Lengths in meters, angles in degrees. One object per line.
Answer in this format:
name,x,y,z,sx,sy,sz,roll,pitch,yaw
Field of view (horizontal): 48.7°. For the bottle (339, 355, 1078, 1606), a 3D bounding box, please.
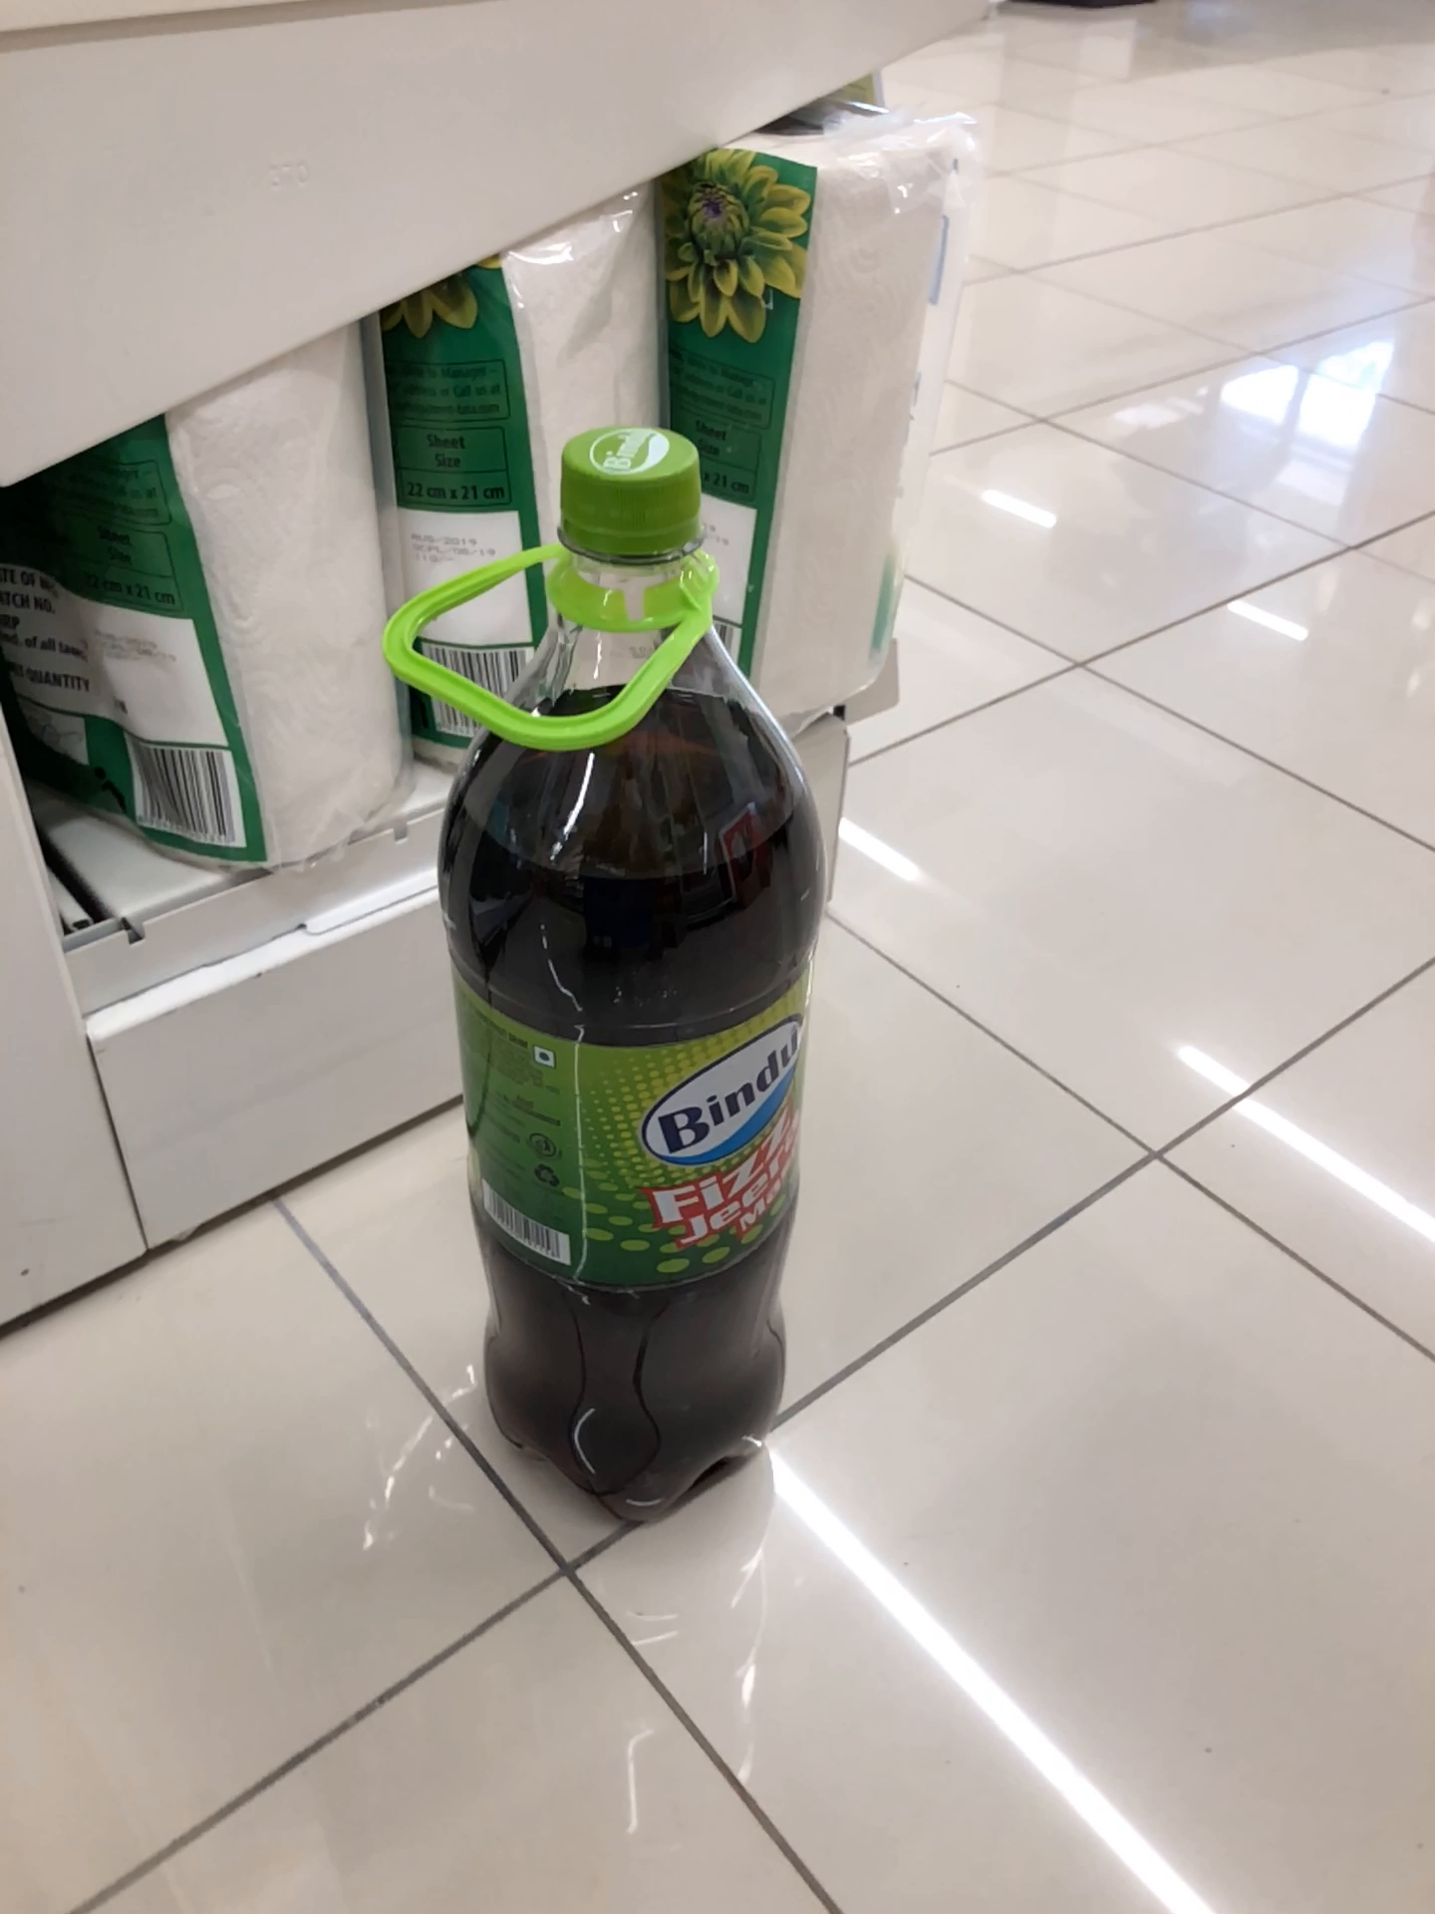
bottle,-0.006,0.020,0.412,0.111,0.298,0.100,-29,48,-33
